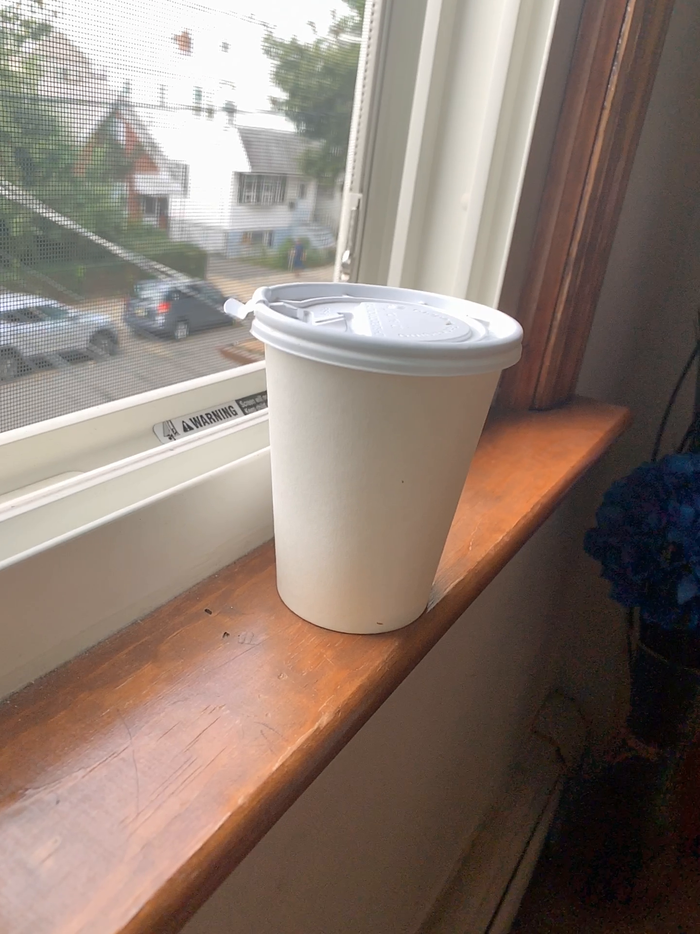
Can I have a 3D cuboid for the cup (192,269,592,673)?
[{"bbox_3d":[0.008,-0.009,0.254,0.090,0.099,0.090,6,23,-3],"label":"cup"}]
